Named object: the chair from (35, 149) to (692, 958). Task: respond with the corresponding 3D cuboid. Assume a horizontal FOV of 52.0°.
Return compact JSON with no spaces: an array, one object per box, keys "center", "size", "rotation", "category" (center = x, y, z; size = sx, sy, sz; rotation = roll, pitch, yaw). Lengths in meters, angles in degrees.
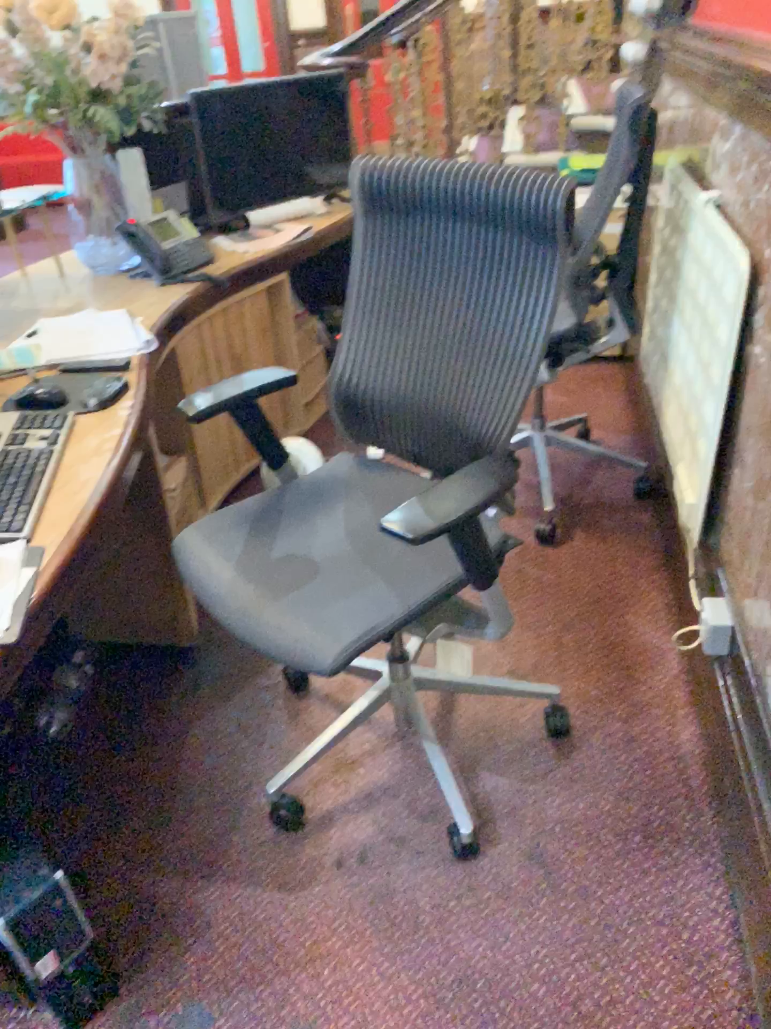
[{"center":[-0.012,0.006,1.476],"size":[0.692,1.129,0.724],"rotation":[-27,38,-31],"category":"chair"}]
